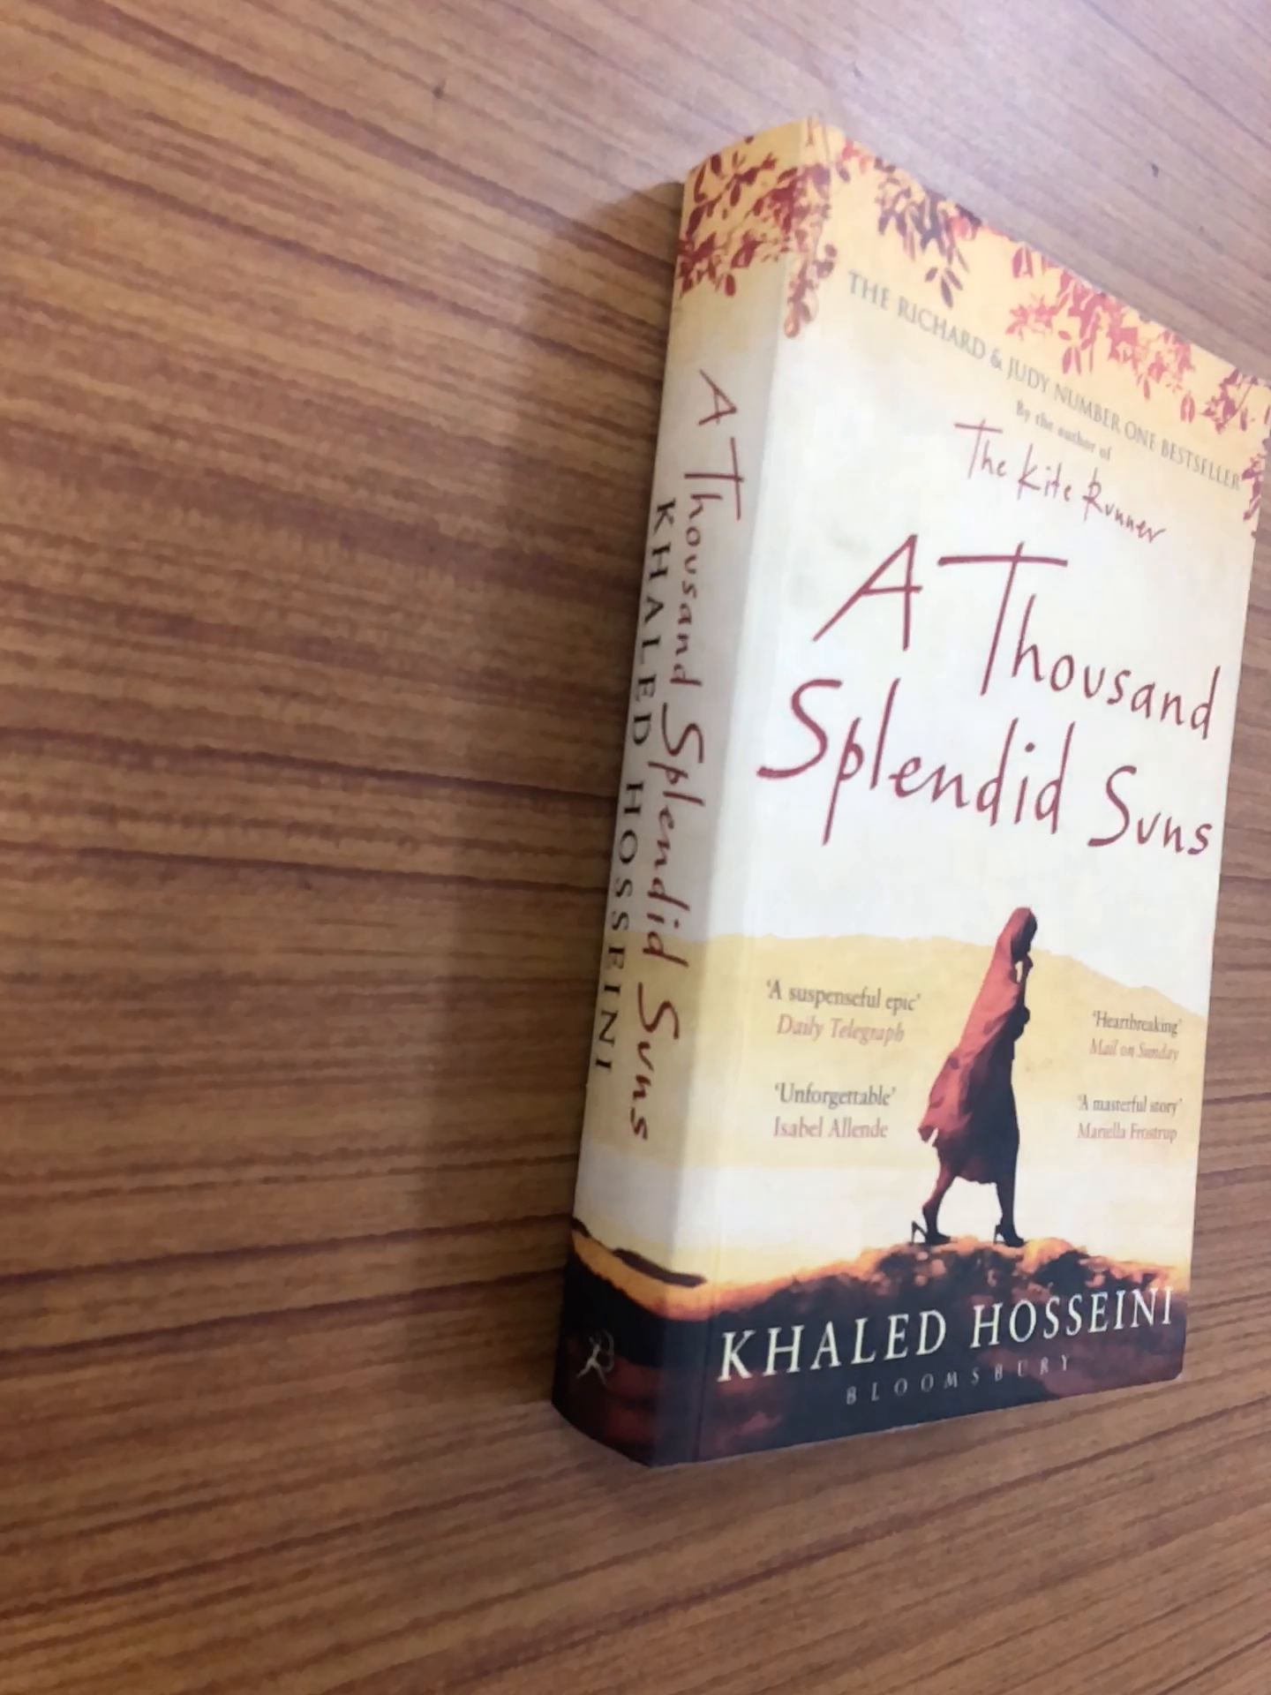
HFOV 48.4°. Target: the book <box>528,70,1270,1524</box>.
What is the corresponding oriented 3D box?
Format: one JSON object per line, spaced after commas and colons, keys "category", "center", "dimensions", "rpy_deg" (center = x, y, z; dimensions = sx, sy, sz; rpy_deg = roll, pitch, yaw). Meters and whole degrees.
{"category": "book", "center": [0.059, -0.001, 0.239], "dimensions": [0.141, 0.030, 0.190], "rpy_deg": [9, 87, -39]}
